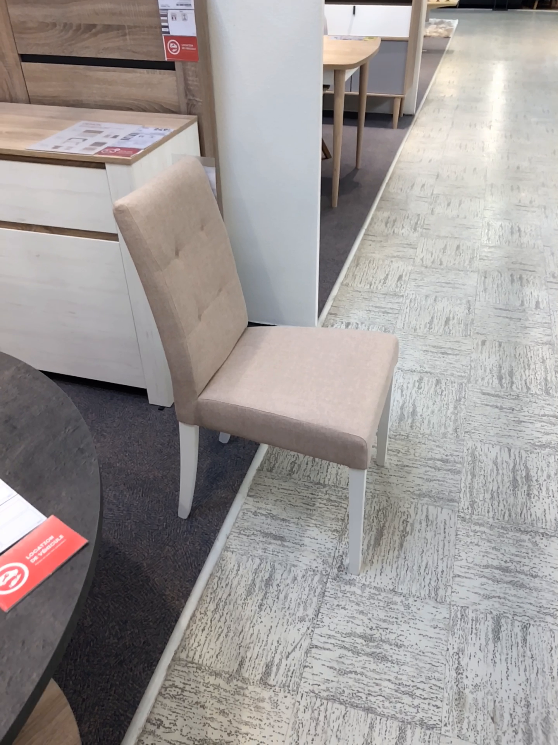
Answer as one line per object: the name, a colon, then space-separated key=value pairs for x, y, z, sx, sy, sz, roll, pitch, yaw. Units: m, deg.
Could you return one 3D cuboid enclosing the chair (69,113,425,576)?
chair: x=-0.018 y=-0.056 z=1.348 sx=0.530 sy=0.855 sz=0.433 roll=9 pitch=37 yaw=14
